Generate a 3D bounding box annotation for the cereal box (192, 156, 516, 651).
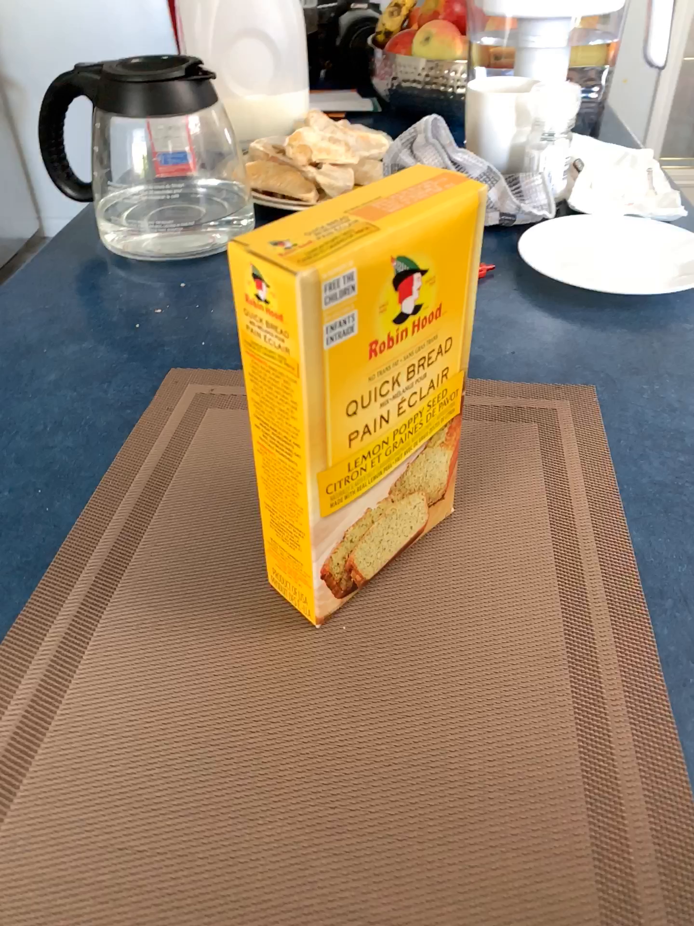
[{"bbox_3d":[0.011,-0.024,0.315,0.040,0.178,0.131,30,48,34],"label":"cereal box"}]
